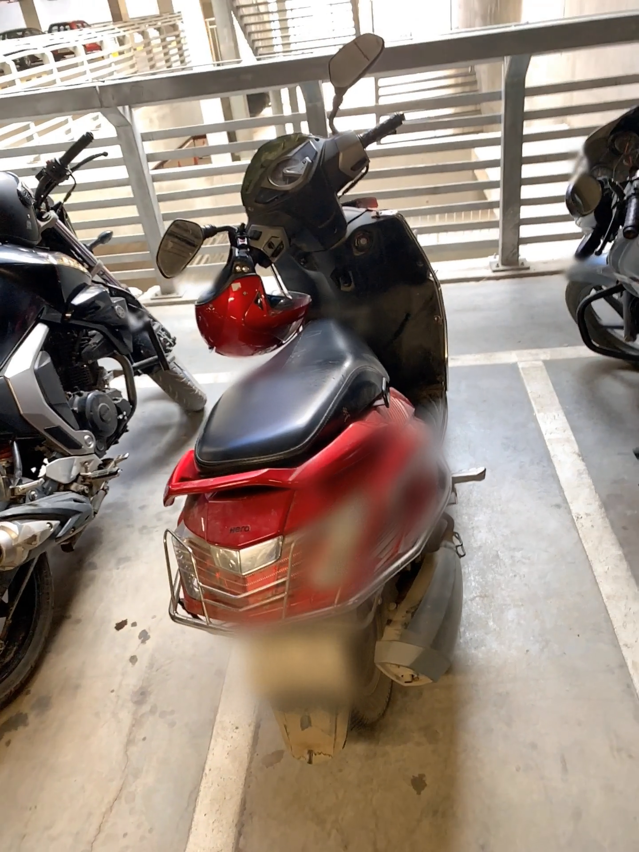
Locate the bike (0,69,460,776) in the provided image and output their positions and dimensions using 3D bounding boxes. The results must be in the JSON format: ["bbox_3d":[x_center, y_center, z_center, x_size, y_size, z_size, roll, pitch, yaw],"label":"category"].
[{"bbox_3d":[-0.059,-0.228,1.933,0.725,1.165,1.858,-4,35,7],"label":"bike"}]
